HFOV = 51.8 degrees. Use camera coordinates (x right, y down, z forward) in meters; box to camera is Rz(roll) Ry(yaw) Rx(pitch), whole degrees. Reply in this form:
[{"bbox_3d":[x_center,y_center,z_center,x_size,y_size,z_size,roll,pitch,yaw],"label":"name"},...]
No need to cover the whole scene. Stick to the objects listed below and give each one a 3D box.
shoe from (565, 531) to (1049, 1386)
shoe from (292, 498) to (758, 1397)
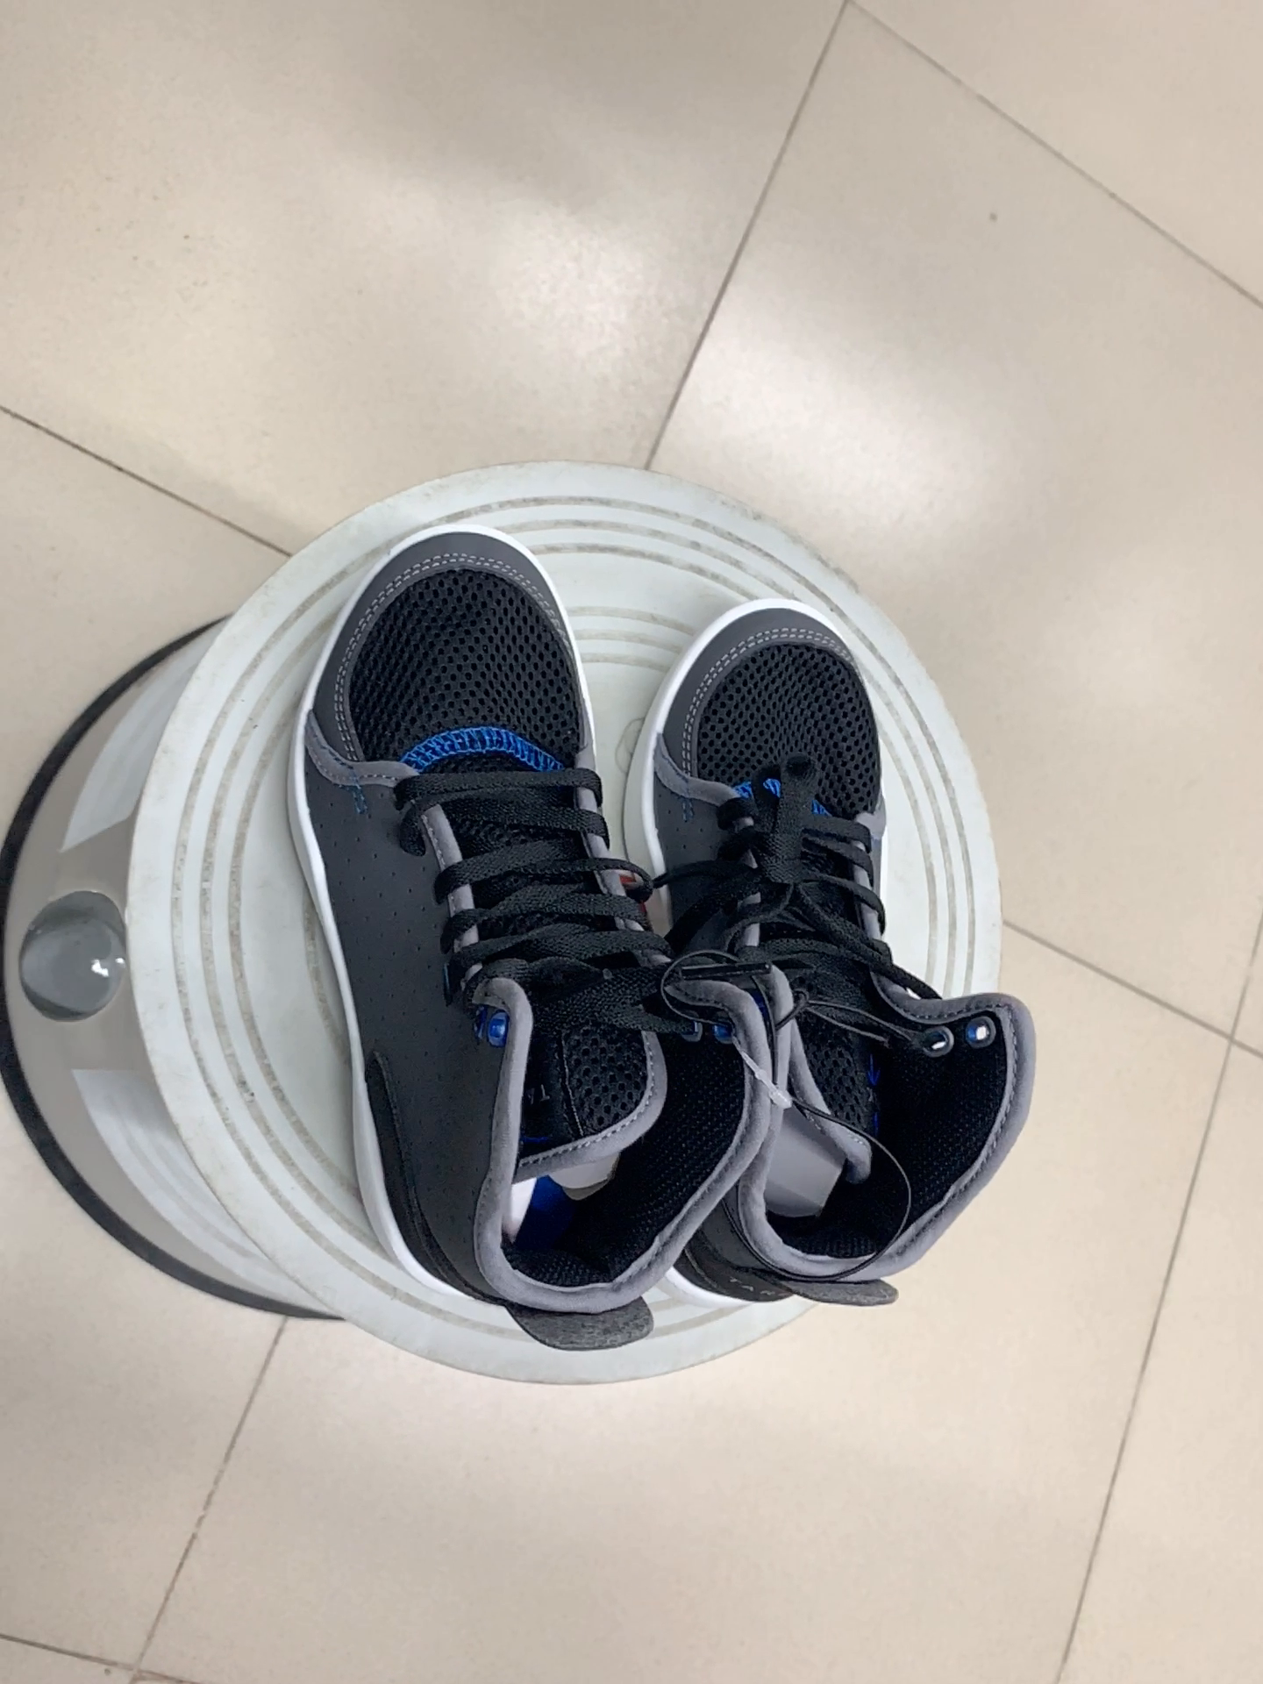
[{"bbox_3d":[0.045,0.034,0.374,0.080,0.120,0.200,7,81,-20],"label":"shoe"},{"bbox_3d":[-0.036,0.024,0.352,0.090,0.100,0.200,-2,85,-21],"label":"shoe"}]
